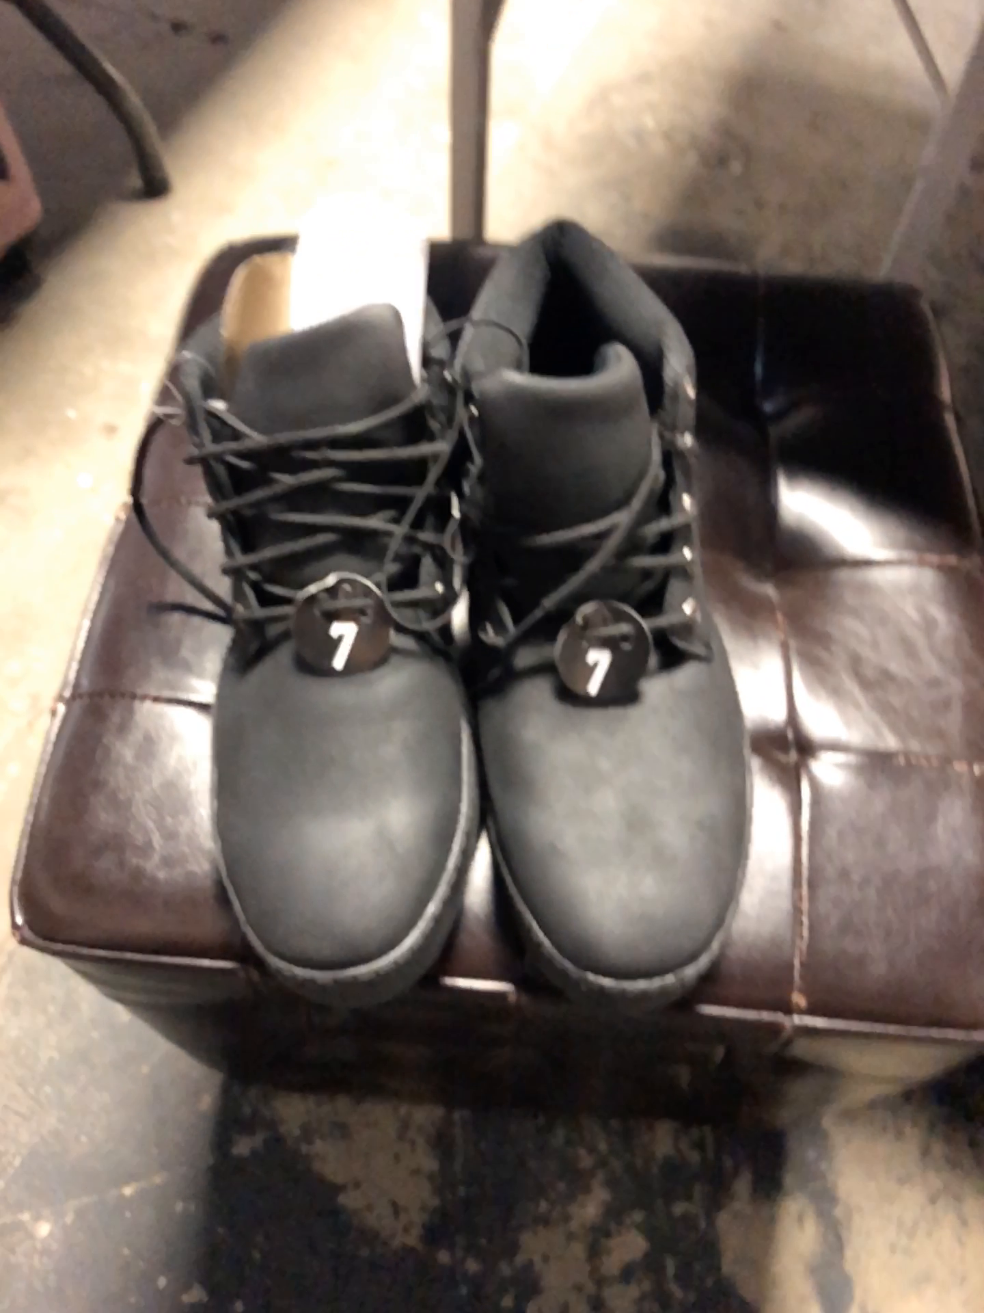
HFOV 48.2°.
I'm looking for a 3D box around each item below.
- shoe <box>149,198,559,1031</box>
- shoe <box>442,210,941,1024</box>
[{"bbox_3d":[-0.046,-0.018,0.395,0.100,0.139,0.262,-3,60,-4],"label":"shoe"},{"bbox_3d":[0.040,-0.012,0.358,0.100,0.139,0.221,-3,60,-4],"label":"shoe"}]
